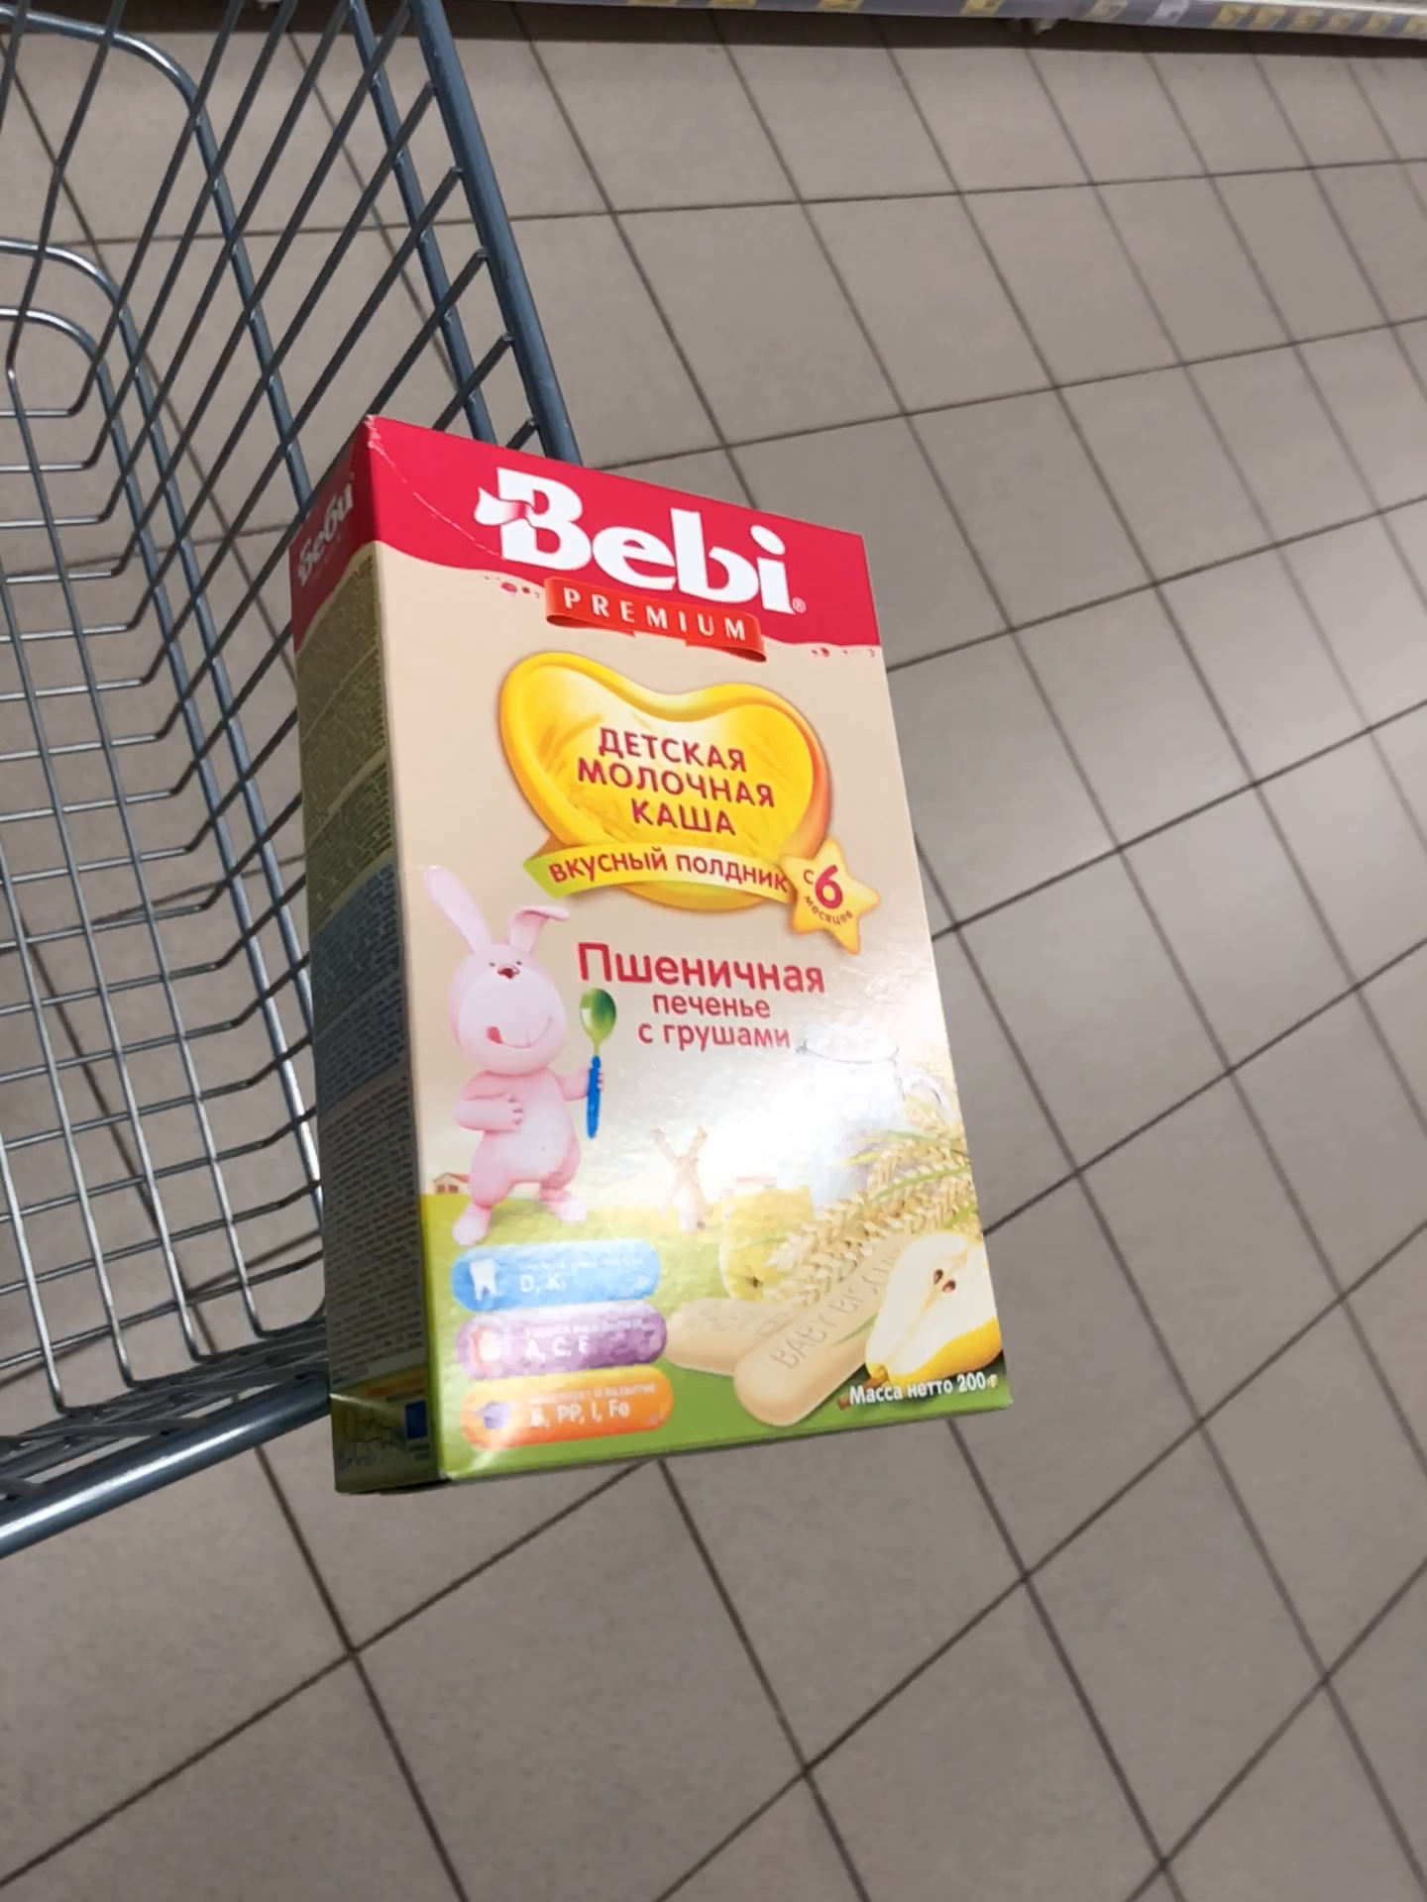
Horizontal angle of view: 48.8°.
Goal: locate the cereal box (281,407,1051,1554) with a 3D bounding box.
[{"bbox_3d":[-0.014,0.005,0.329,0.130,0.050,0.210,4,69,-32],"label":"cereal box"}]
